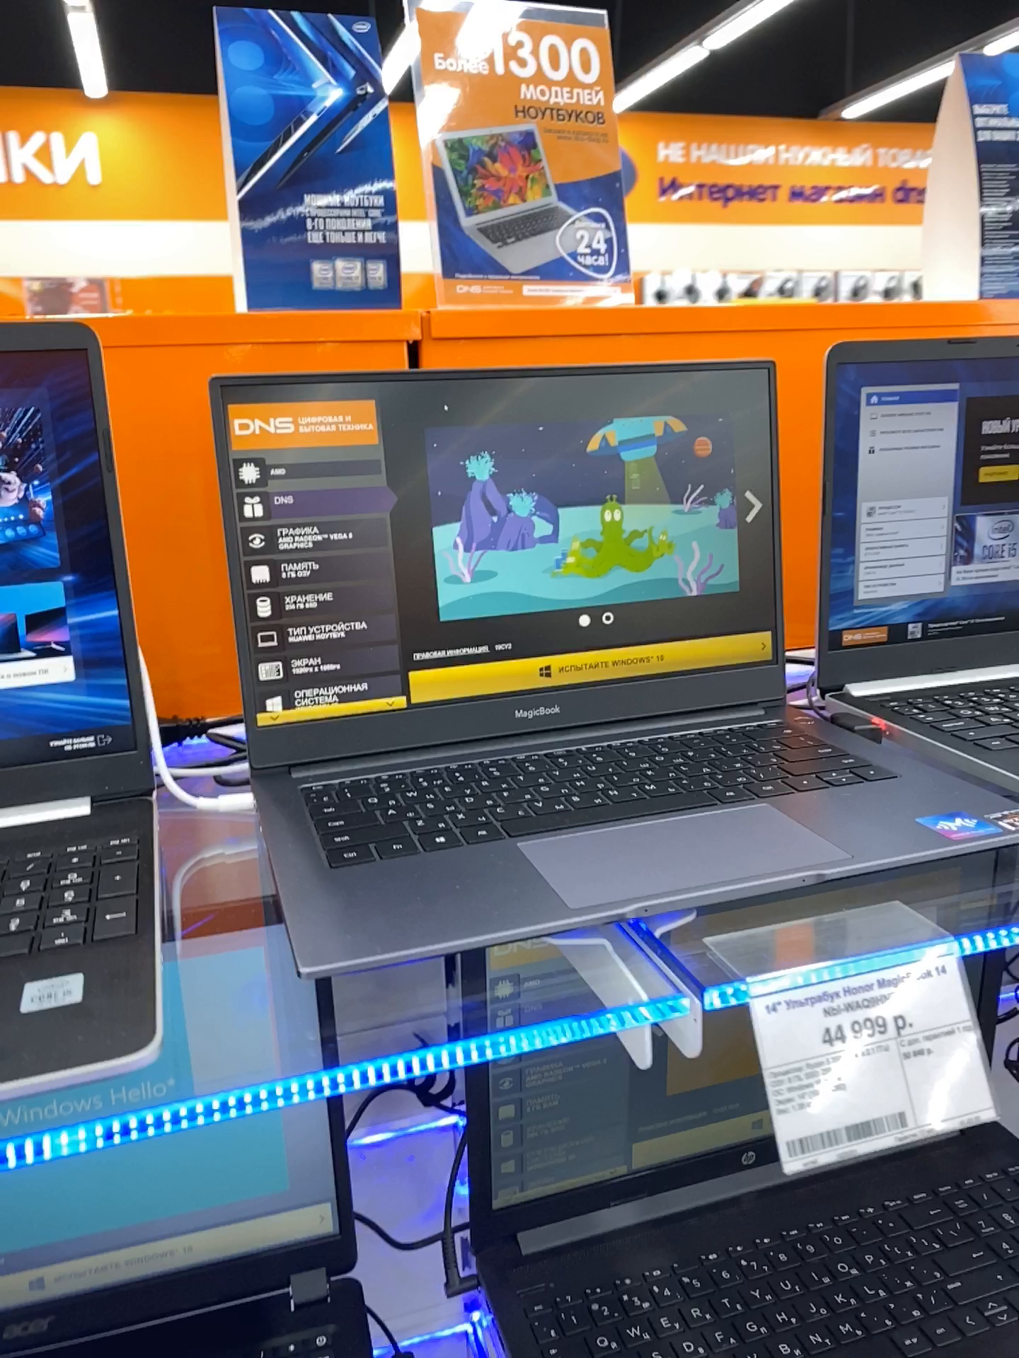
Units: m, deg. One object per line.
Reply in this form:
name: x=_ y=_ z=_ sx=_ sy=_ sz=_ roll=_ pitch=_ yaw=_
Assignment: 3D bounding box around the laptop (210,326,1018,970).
laptop: x=0.043 y=-0.045 z=0.485 sx=0.323 sy=0.203 sz=0.238 roll=-6 pitch=14 yaw=-17
